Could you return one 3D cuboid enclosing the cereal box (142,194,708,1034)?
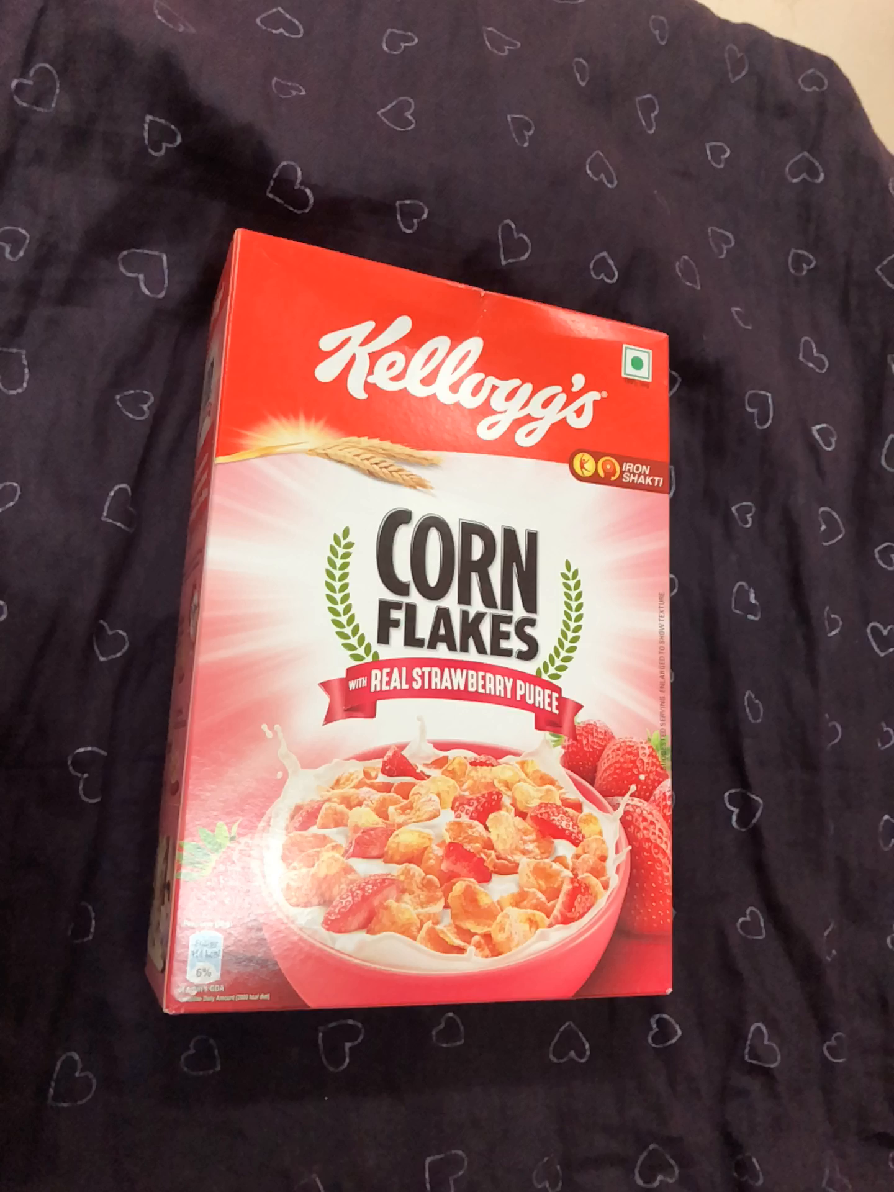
[{"bbox_3d":[-0.001,0.011,0.380,0.190,0.070,0.270,7,78,-22],"label":"cereal box"}]
